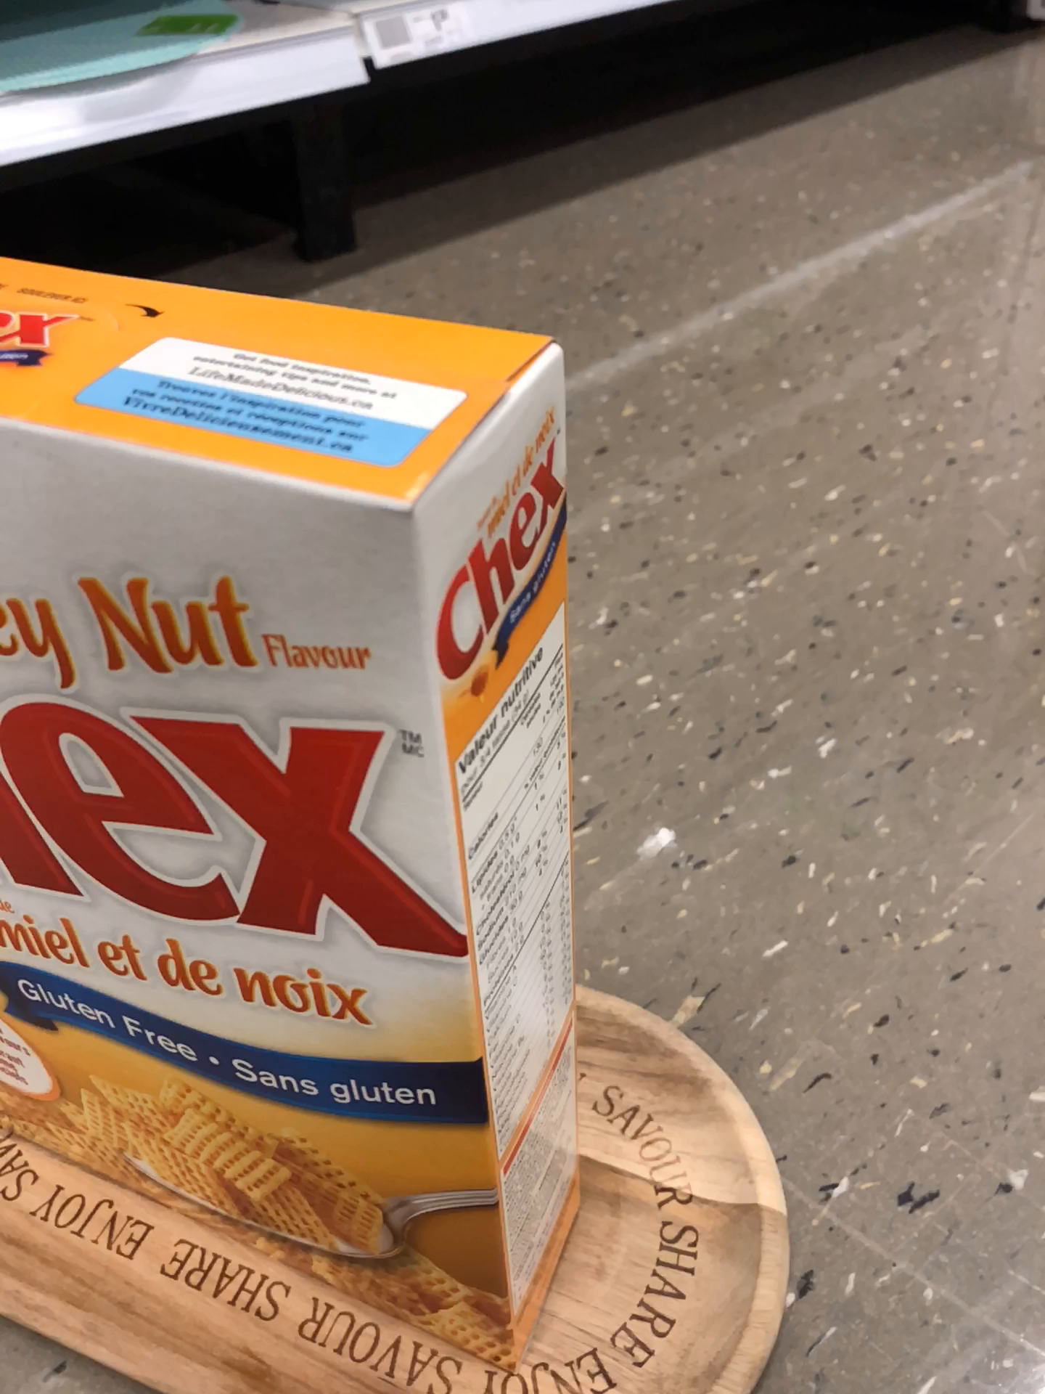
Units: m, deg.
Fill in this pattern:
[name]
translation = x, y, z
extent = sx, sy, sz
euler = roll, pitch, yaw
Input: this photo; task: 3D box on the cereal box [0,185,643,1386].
[cereal box]
translation = -0.084, 0.038, 0.288
extent = 0.210, 0.279, 0.060
euler = 15, 43, 20
